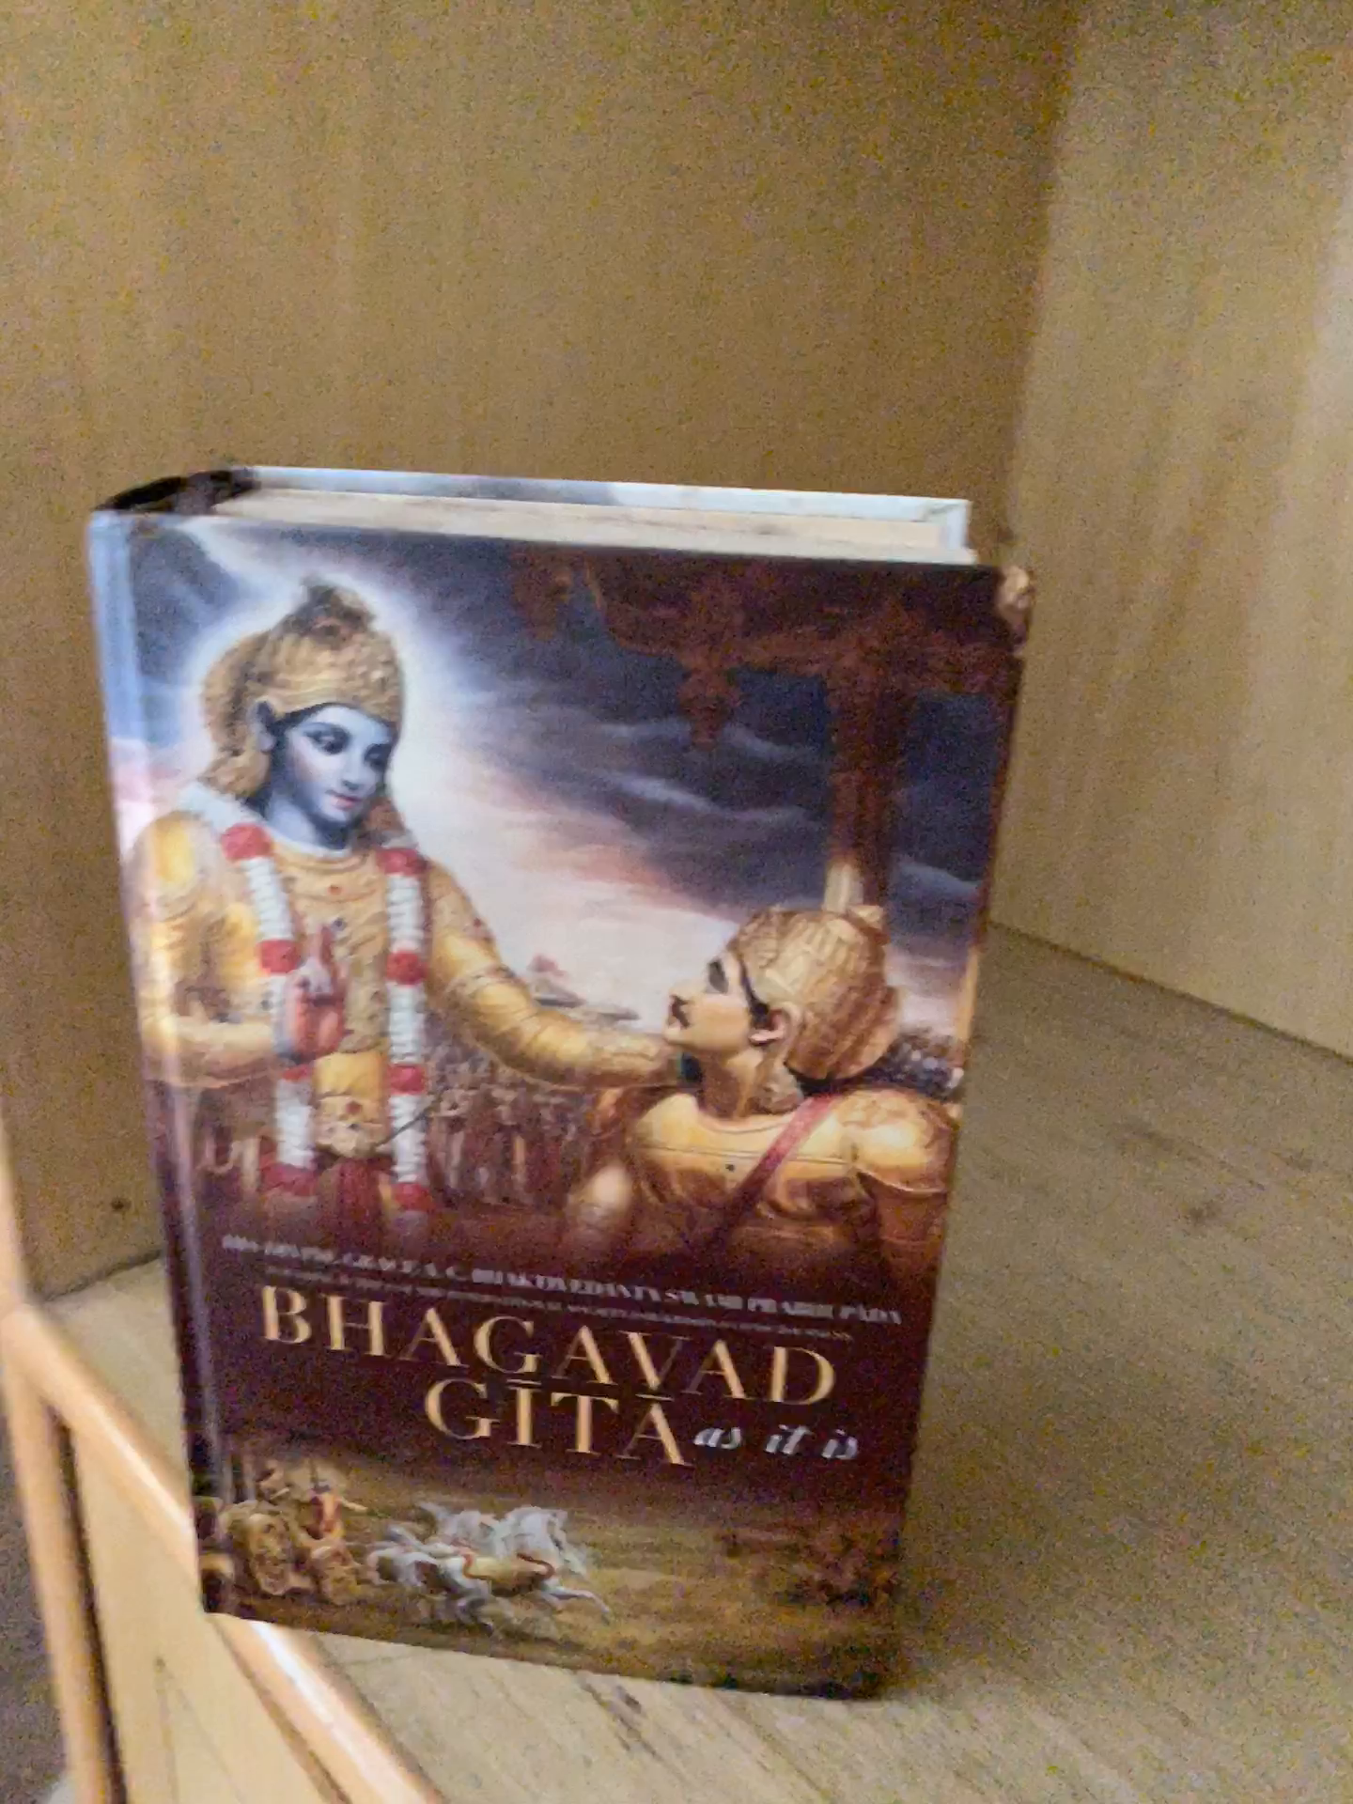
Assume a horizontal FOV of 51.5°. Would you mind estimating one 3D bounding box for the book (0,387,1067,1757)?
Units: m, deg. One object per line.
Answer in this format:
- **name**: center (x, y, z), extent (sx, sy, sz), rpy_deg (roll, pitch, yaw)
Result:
- **book**: center (-0.023, 0.030, 0.248), extent (0.140, 0.218, 0.070), rpy_deg (5, 21, 6)
